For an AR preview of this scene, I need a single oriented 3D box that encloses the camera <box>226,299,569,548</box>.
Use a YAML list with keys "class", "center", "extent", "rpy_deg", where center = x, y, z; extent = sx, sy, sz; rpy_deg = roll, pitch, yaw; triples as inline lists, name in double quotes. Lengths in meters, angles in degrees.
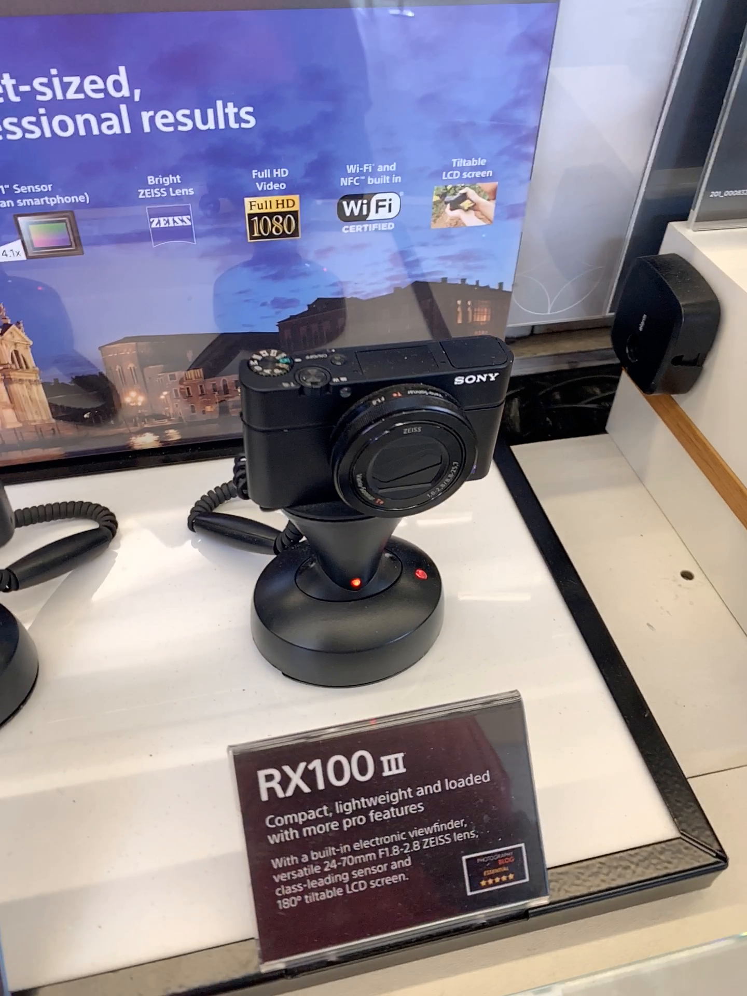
- class: "camera"
  center: [0.006, -0.029, 0.289]
  extent: [0.110, 0.059, 0.050]
  rpy_deg: [-10, 46, -12]
